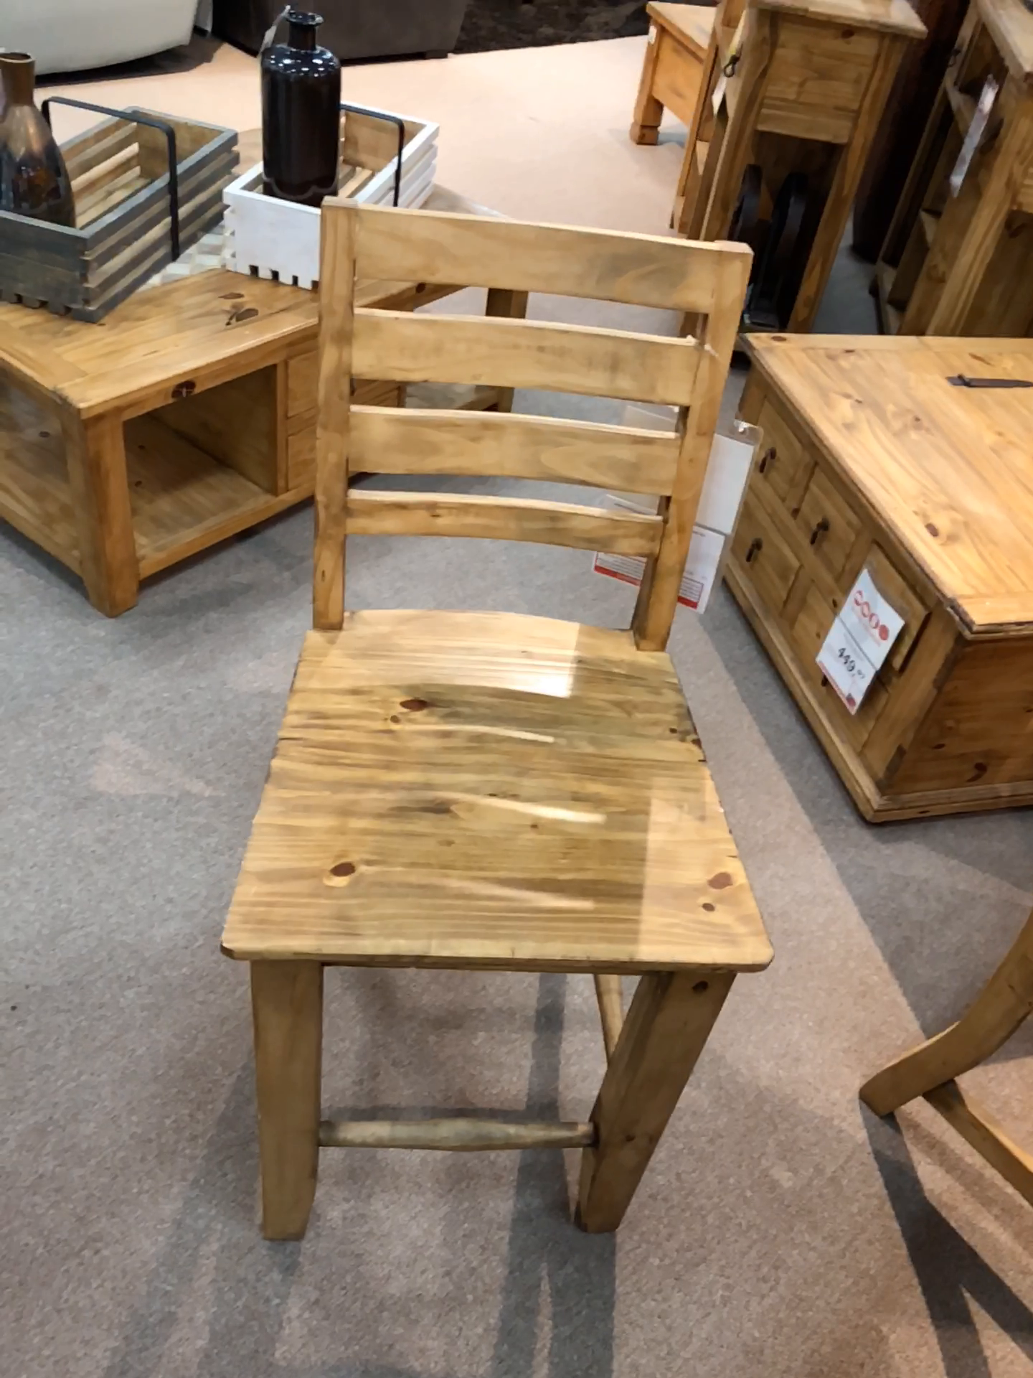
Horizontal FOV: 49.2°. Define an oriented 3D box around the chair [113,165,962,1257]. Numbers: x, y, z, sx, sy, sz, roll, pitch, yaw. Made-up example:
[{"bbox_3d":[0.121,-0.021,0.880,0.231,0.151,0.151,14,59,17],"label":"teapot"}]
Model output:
[{"bbox_3d":[-0.052,0.109,1.152,0.470,1.013,0.523,3,43,-7],"label":"chair"}]
